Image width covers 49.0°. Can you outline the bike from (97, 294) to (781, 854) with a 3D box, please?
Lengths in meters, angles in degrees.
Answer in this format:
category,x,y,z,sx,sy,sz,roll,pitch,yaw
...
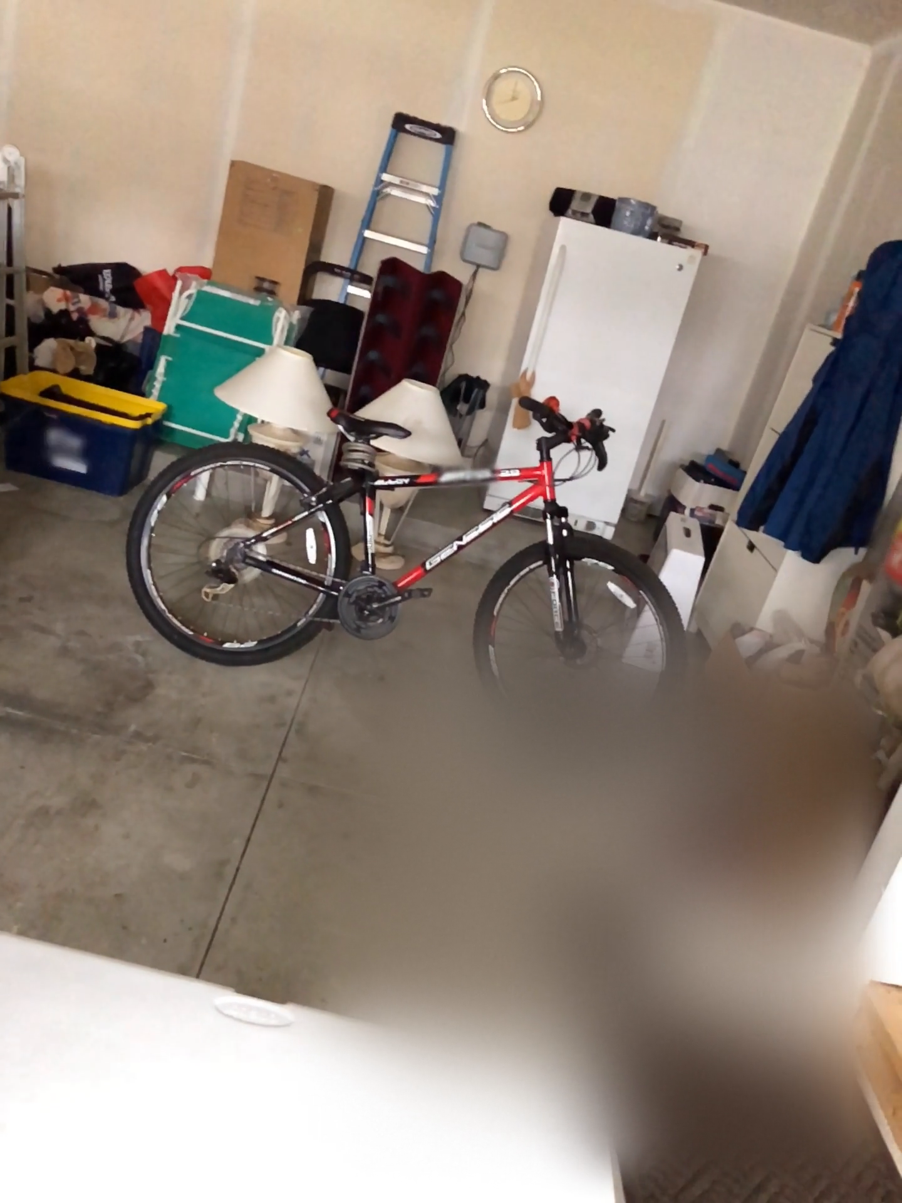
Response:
category,x,y,z,sx,sy,sz,roll,pitch,yaw
bike,-0.125,-0.137,2.946,1.668,1.054,0.591,17,19,5
